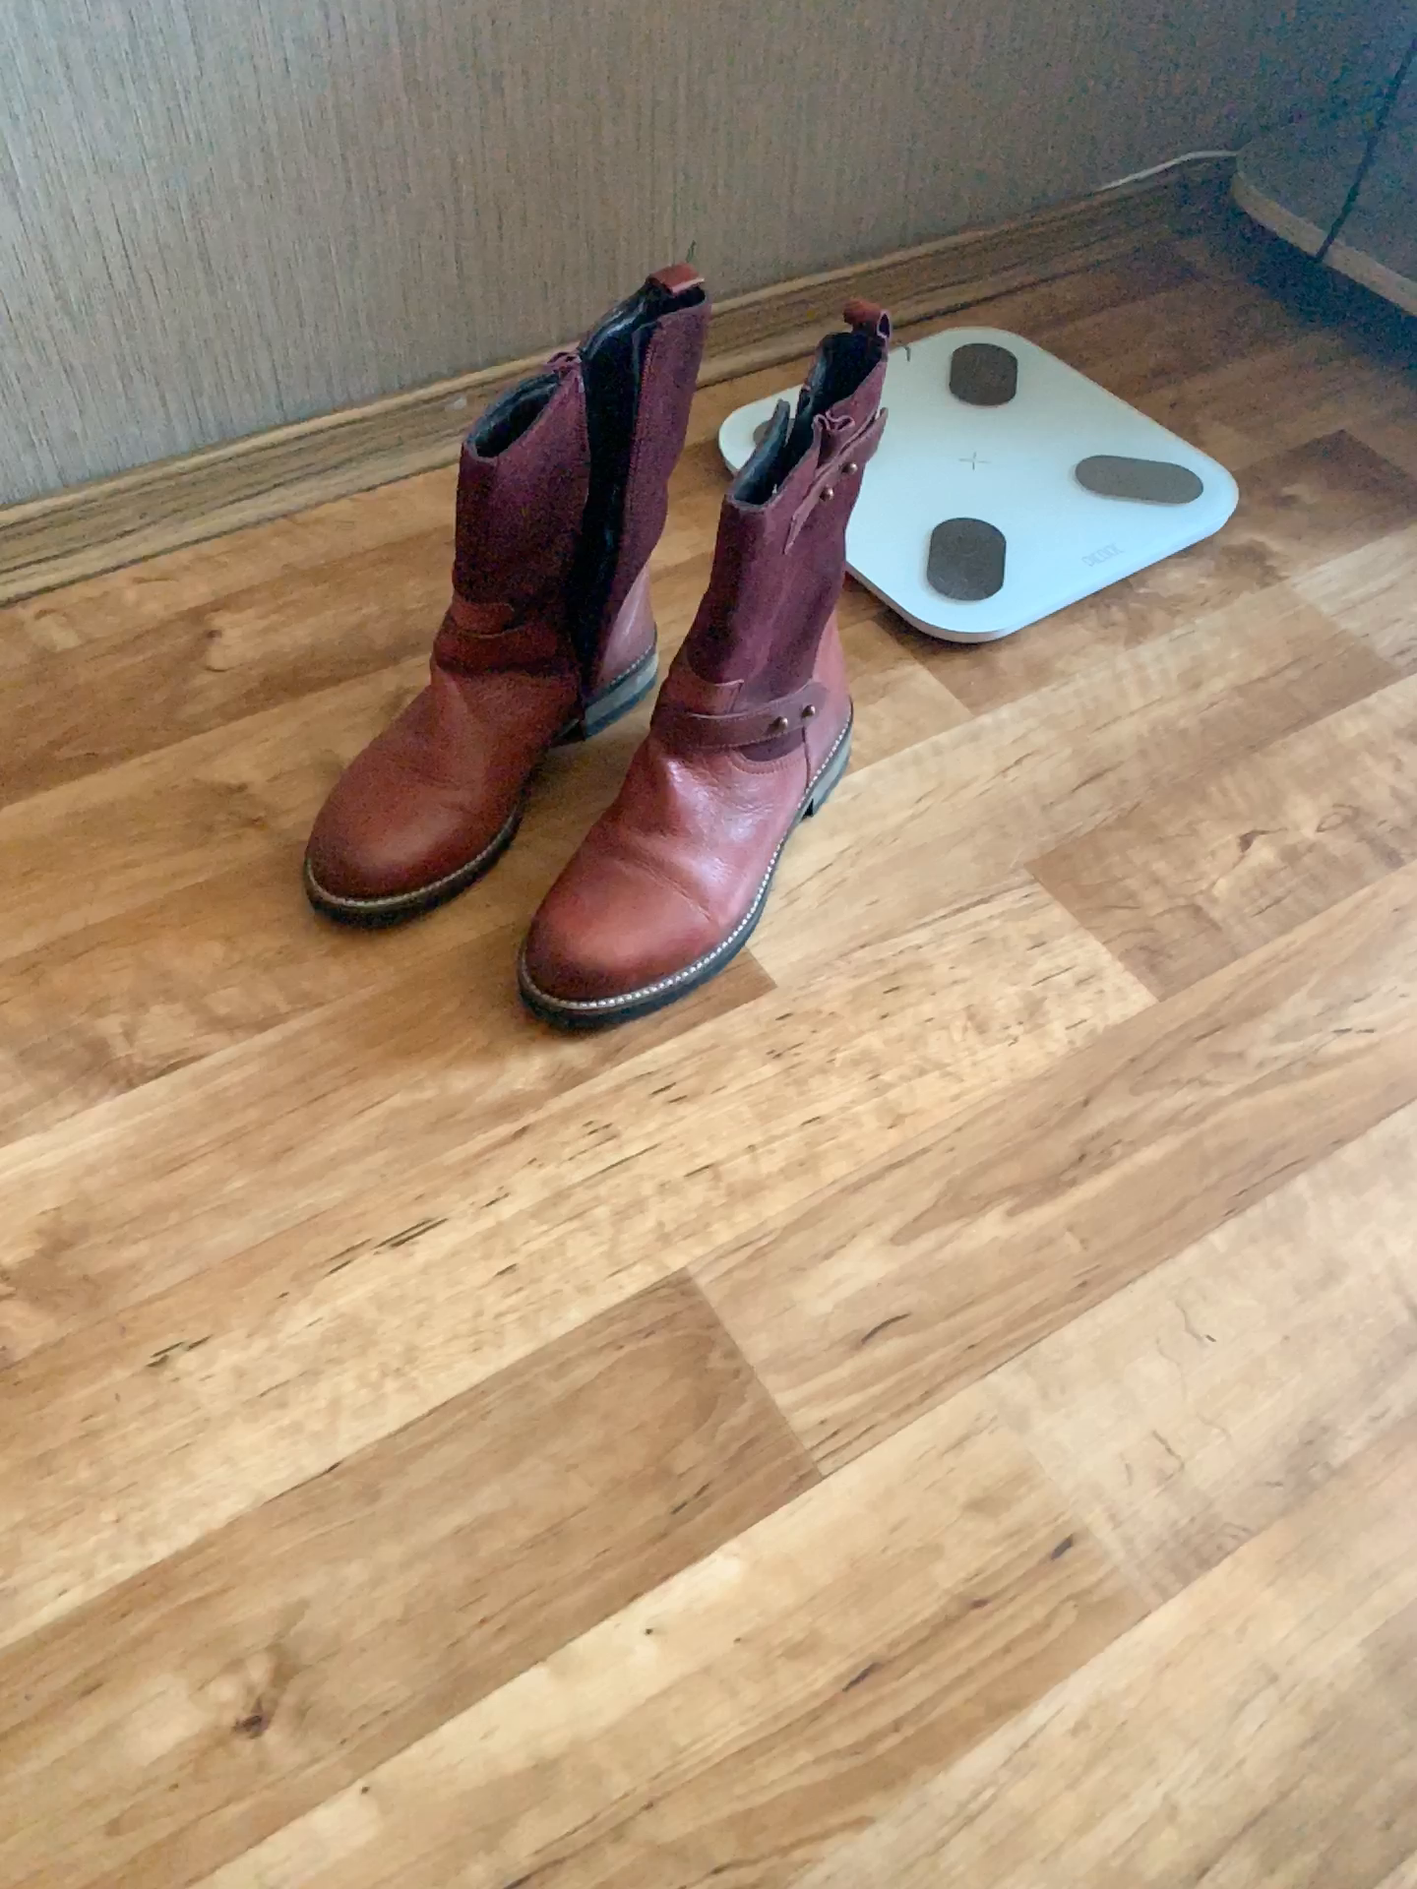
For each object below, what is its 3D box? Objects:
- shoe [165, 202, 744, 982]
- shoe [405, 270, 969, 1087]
[{"bbox_3d":[-0.096,-0.163,0.683,0.100,0.249,0.251,26,54,18],"label":"shoe"},{"bbox_3d":[-0.001,-0.113,0.630,0.090,0.239,0.251,26,54,18],"label":"shoe"}]
